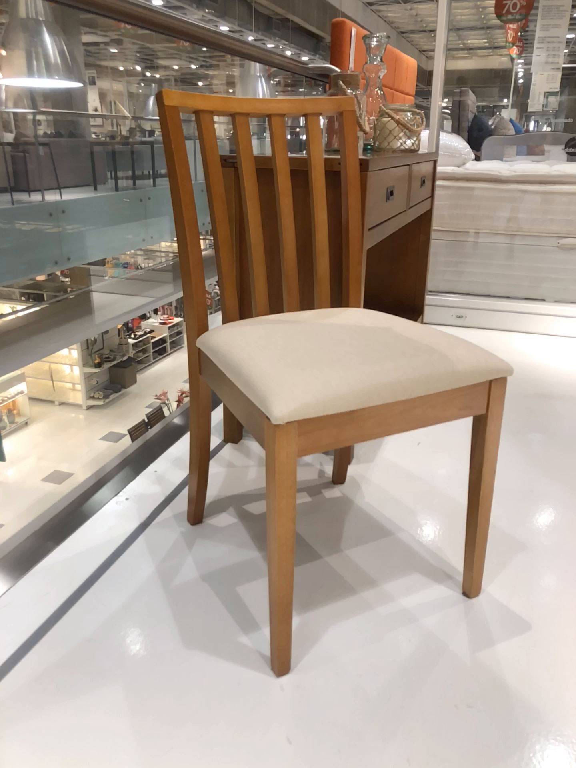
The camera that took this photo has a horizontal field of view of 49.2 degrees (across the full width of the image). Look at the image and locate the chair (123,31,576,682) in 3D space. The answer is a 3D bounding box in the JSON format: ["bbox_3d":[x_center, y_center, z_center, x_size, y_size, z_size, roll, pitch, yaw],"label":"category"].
[{"bbox_3d":[0.084,-0.093,1.118,0.541,0.834,0.553,-11,23,-27],"label":"chair"}]
